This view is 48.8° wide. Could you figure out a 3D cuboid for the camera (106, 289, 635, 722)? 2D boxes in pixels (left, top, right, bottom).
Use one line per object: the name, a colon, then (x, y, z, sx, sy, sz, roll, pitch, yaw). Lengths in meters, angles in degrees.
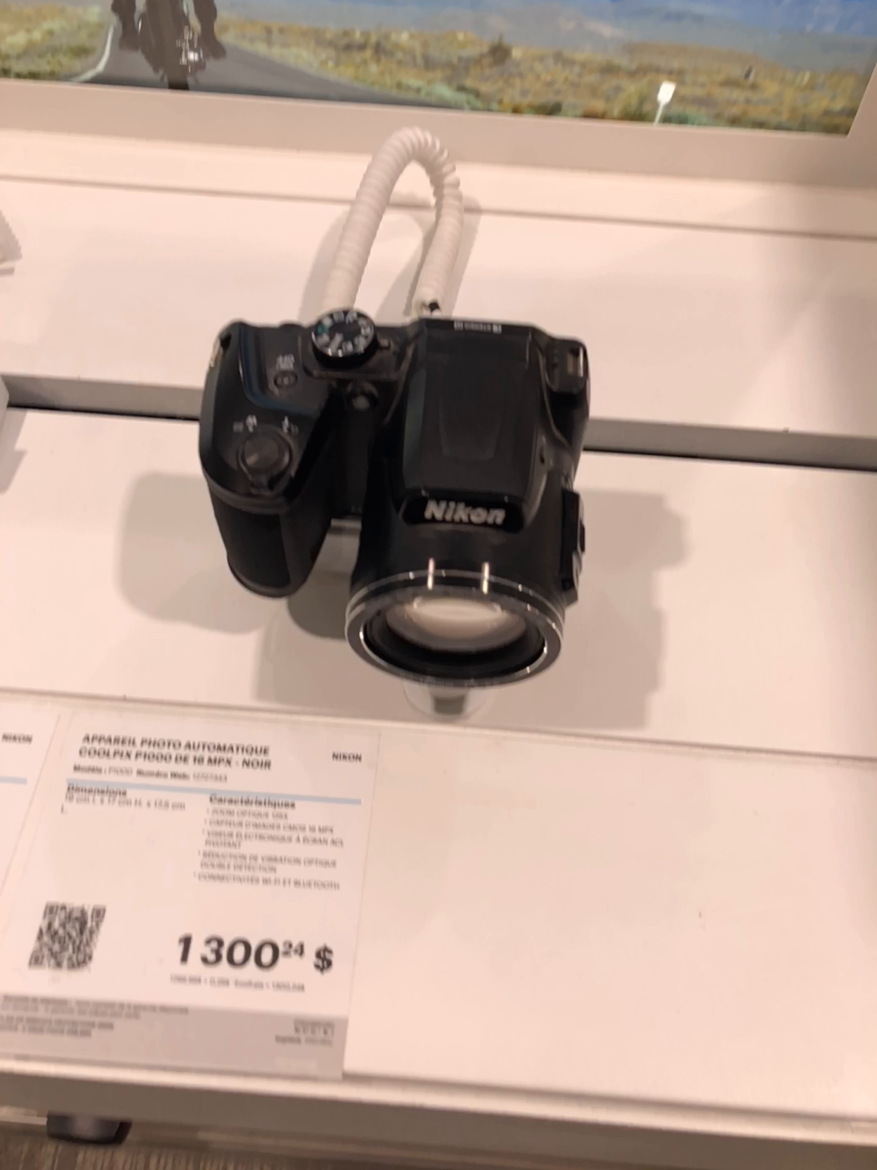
camera: (-0.014, -0.022, 0.268, 0.117, 0.067, 0.092, 3, 55, 0)
